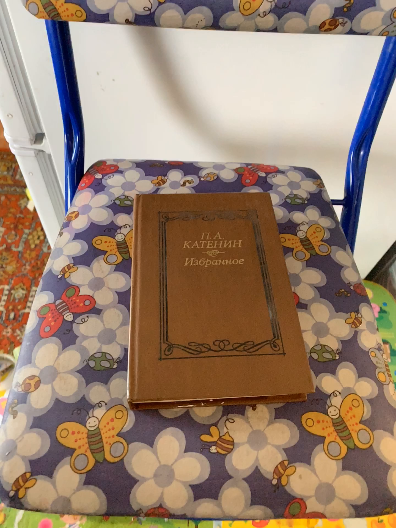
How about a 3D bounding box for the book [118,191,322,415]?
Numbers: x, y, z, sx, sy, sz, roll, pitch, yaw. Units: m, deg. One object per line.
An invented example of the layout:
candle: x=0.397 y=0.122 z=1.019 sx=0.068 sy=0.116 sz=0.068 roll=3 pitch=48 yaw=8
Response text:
book: x=0.007 y=0.016 z=0.302 sx=0.124 sy=0.020 sz=0.171 roll=-2 pitch=56 yaw=-5
